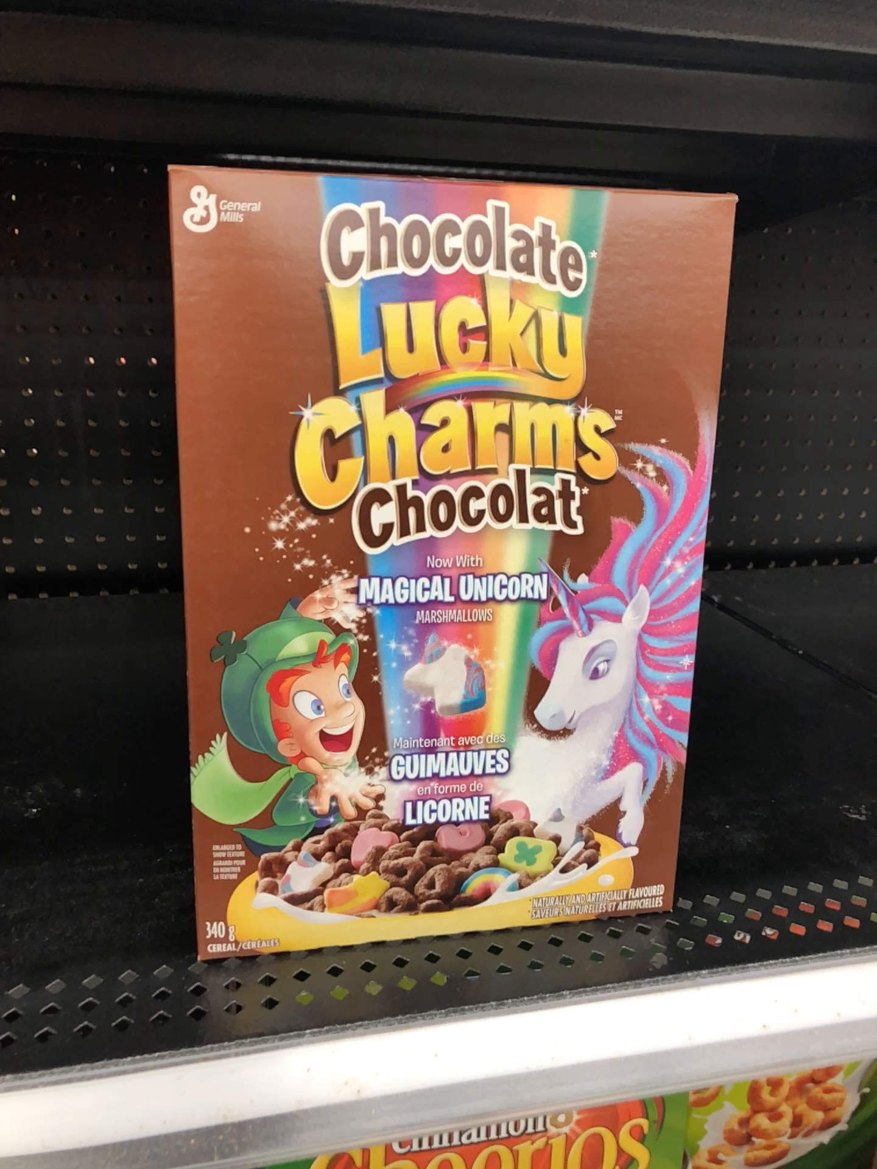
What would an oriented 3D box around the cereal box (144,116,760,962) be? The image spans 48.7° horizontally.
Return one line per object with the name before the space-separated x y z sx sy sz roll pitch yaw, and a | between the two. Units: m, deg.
cereal box | 0.003 -0.010 0.367 0.200 0.289 0.050 -2 14 -11
